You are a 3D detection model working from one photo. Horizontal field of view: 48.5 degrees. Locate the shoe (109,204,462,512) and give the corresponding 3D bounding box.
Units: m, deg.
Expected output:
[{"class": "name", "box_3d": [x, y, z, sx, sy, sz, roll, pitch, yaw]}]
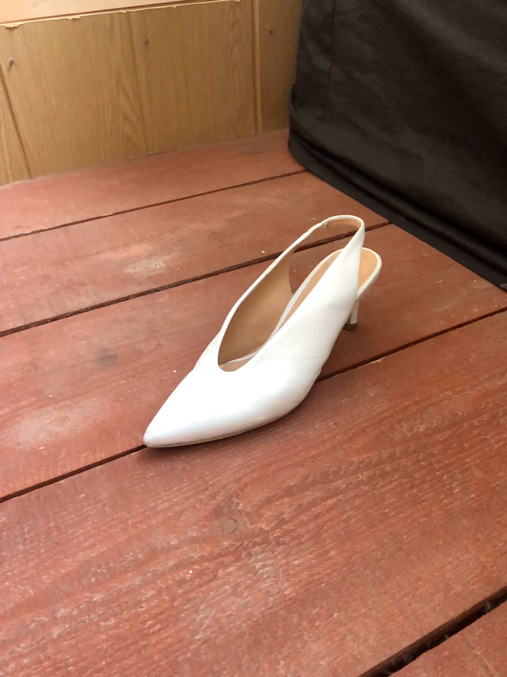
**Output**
[{"class": "shoe", "box_3d": [0.034, -0.005, 0.400, 0.240, 0.080, 0.100, -33, 46, -33]}]
